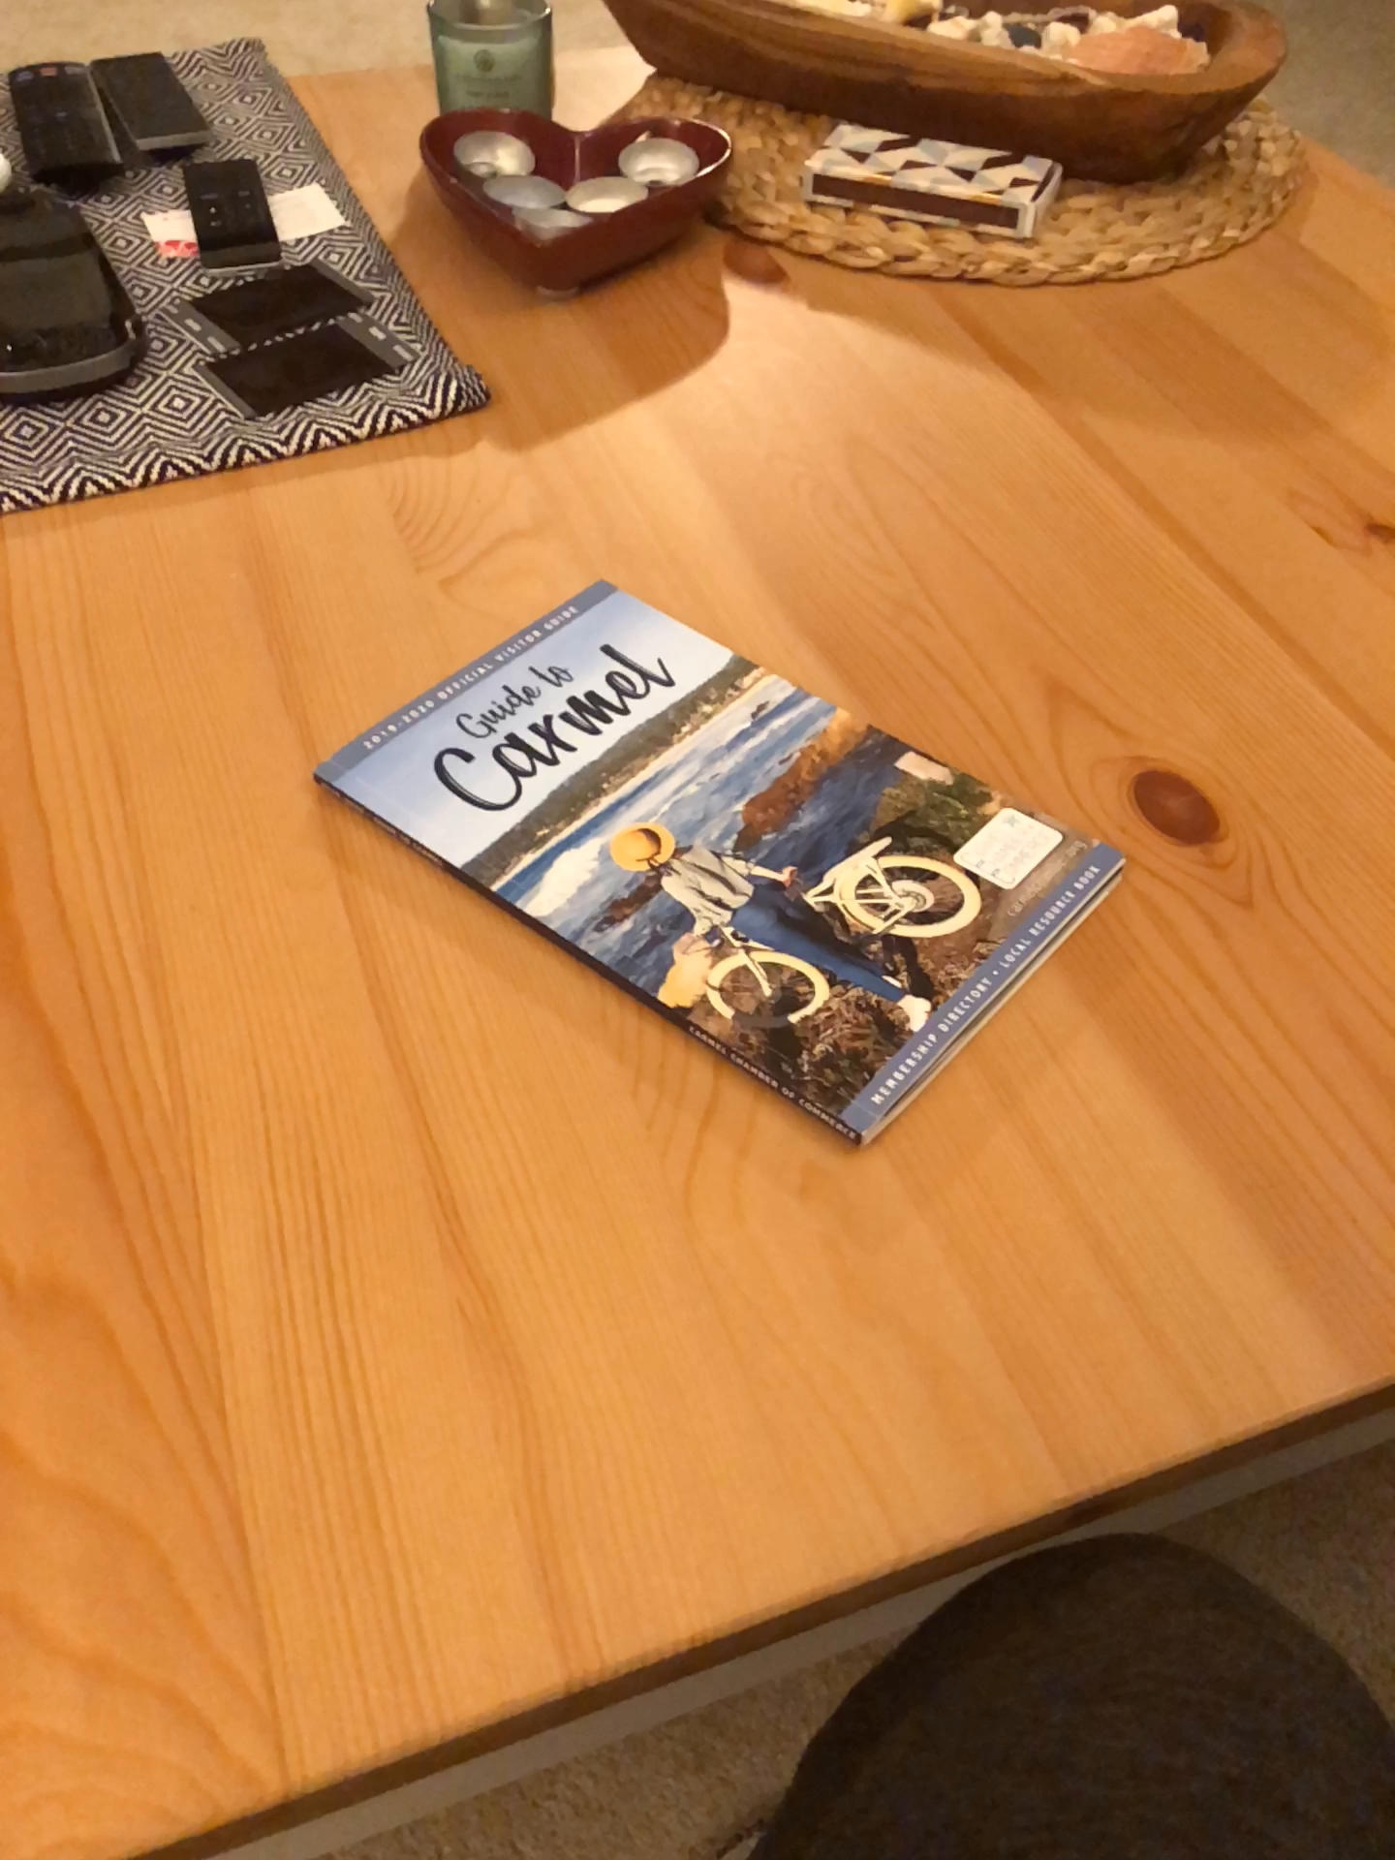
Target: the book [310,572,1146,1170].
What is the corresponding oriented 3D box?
[{"bbox_3d":[0.007,-0.032,0.458,0.207,0.010,0.138,33,54,25],"label":"book"}]
